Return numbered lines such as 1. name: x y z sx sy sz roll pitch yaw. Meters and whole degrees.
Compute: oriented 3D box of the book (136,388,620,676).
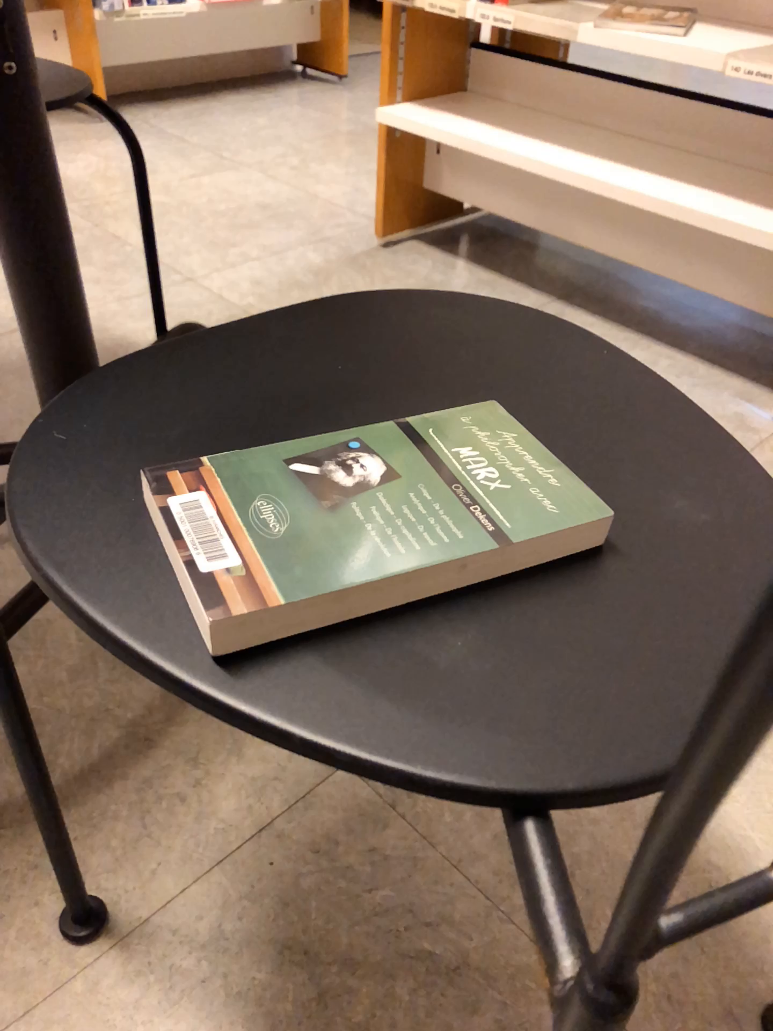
1. book: -0.006 -0.004 0.370 0.177 0.024 0.110 -14 41 -21
